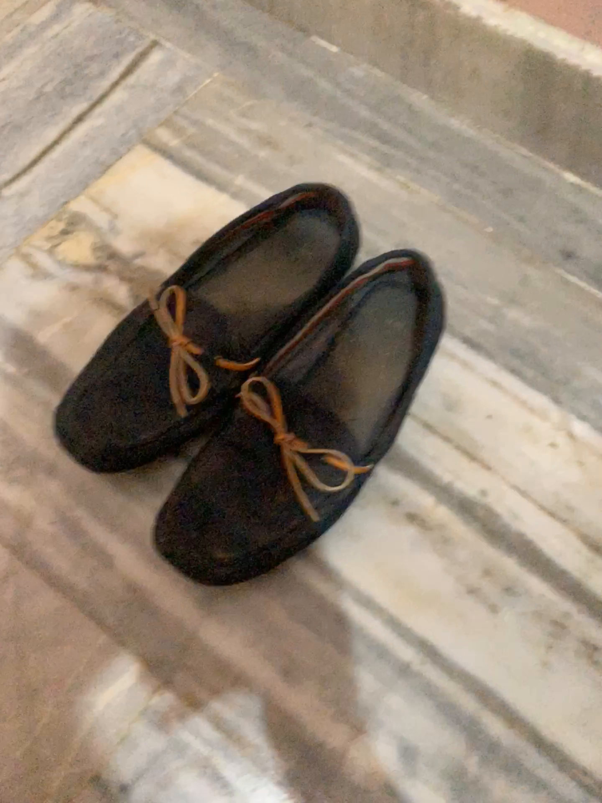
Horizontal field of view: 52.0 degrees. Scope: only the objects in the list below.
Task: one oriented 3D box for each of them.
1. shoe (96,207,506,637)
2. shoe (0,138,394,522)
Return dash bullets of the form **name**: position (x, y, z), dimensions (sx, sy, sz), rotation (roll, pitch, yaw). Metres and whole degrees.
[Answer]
- **shoe**: position (0.010, 0.006, 0.452), dimensions (0.120, 0.070, 0.299), rotation (36, 72, 12)
- **shoe**: position (-0.070, -0.061, 0.464), dimensions (0.120, 0.070, 0.279), rotation (40, 72, 13)
